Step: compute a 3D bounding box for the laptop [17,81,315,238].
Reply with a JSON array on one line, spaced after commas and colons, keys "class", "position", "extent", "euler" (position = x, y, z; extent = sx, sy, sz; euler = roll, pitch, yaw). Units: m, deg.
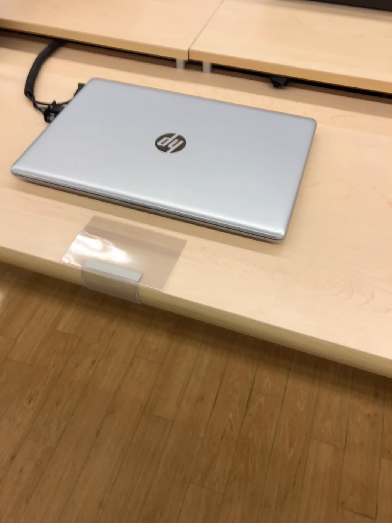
[{"class": "laptop", "position": [-0.035, -0.179, 0.672], "extent": [0.397, 0.001, 0.258], "euler": [15, 54, 12]}]
